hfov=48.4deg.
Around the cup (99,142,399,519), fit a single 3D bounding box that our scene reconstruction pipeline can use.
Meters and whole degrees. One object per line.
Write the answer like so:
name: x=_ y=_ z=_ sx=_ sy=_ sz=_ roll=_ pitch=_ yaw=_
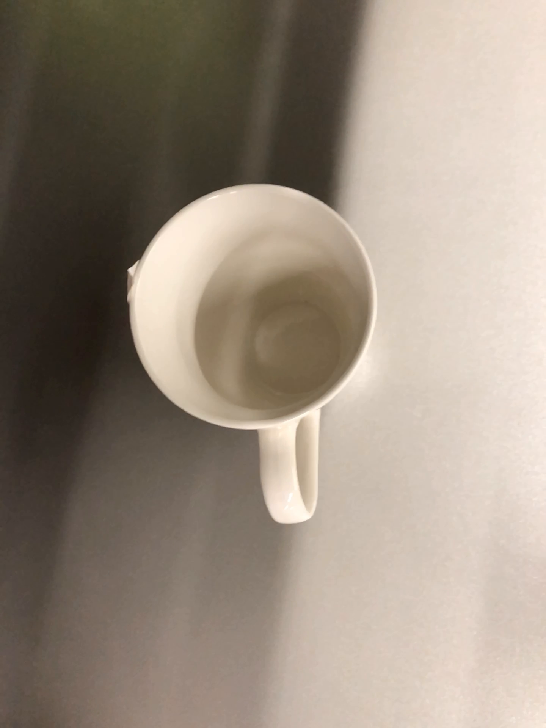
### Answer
cup: x=-0.002 y=-0.005 z=0.246 sx=0.091 sy=0.099 sz=0.114 roll=-7 pitch=81 yaw=10
